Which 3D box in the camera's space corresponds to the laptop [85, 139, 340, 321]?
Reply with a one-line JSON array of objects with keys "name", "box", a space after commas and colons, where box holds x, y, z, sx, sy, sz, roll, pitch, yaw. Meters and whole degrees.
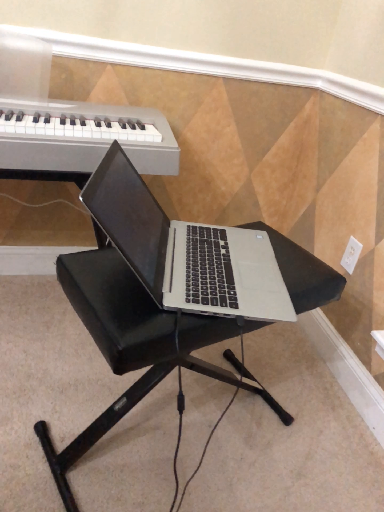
[{"name": "laptop", "box": [0.023, -0.077, 0.876, 0.408, 0.183, 0.377, 7, 29, -5]}]
